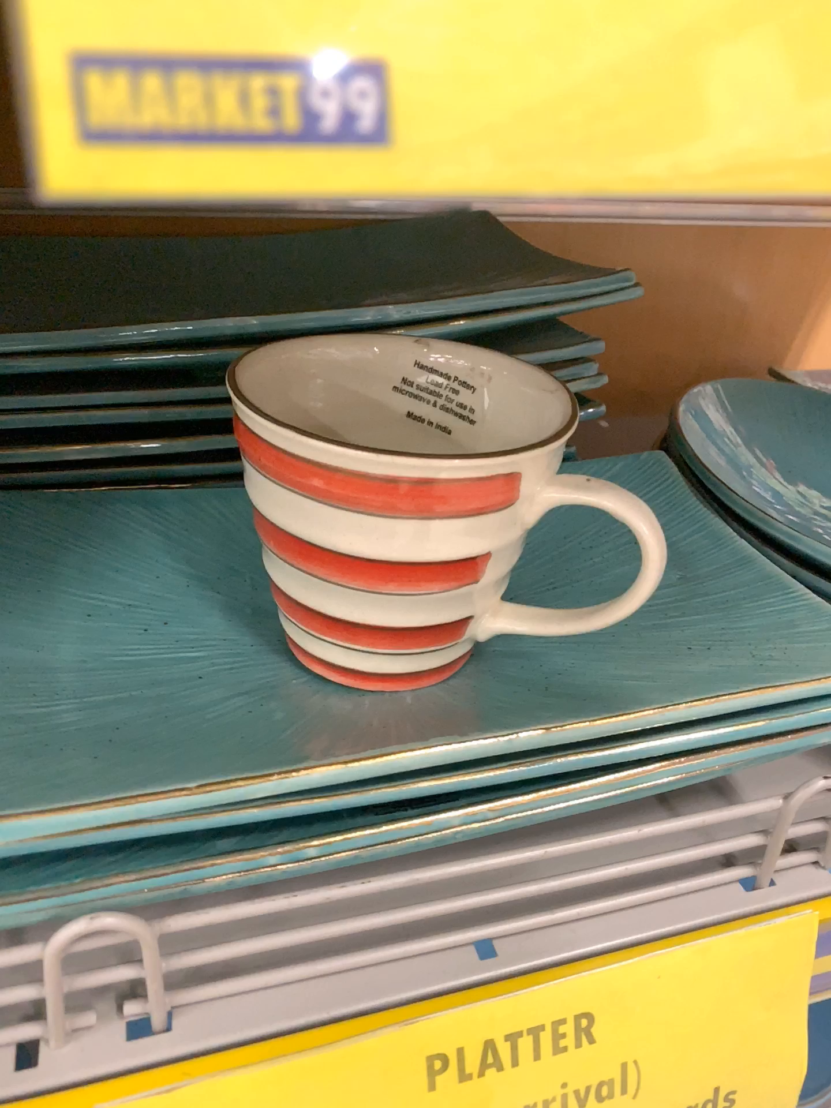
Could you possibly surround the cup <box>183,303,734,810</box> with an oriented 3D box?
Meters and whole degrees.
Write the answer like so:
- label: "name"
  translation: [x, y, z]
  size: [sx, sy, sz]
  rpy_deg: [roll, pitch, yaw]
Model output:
- label: "cup"
  translation: [0.012, -0.011, 0.272]
  size: [0.130, 0.090, 0.100]
  rpy_deg: [21, 33, 22]
